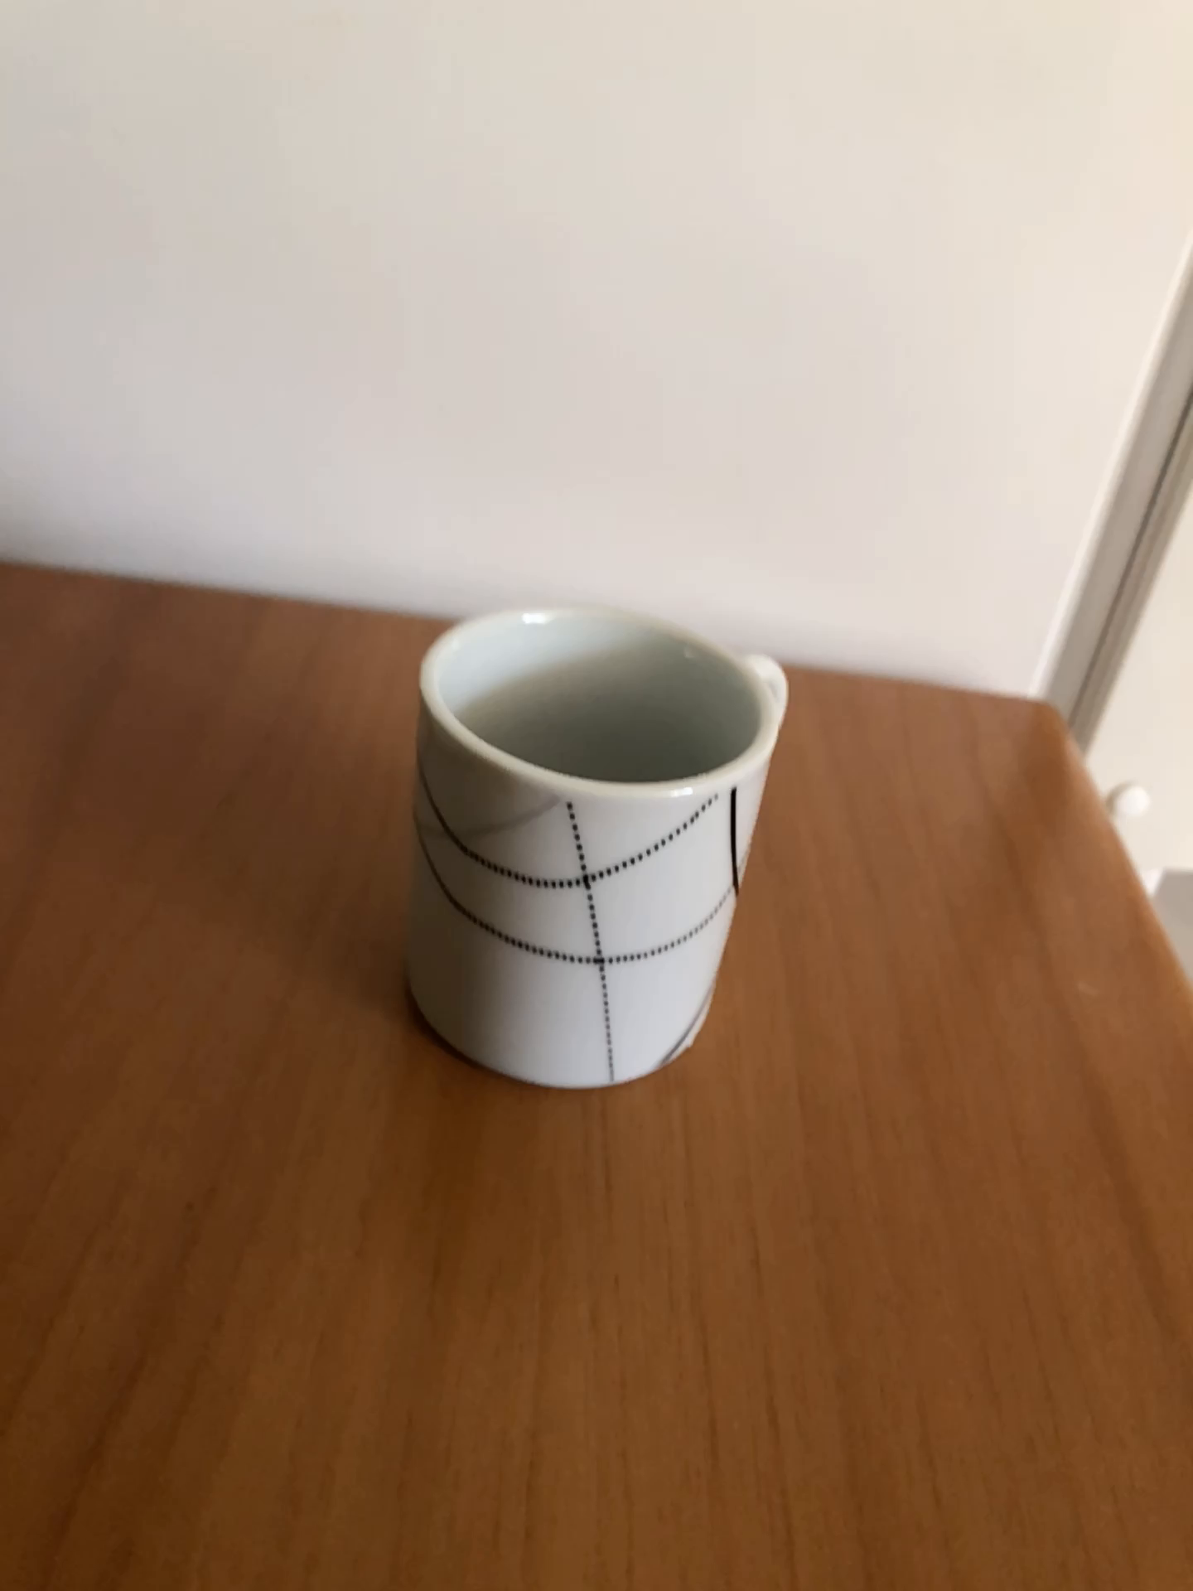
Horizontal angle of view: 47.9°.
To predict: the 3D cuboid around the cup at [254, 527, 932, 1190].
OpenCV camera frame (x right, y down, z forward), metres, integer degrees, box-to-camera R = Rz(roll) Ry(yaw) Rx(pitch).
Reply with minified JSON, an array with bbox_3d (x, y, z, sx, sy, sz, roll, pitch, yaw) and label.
[{"bbox_3d":[-0.001,0.003,0.193,0.060,0.050,0.070,31,39,29],"label":"cup"}]
